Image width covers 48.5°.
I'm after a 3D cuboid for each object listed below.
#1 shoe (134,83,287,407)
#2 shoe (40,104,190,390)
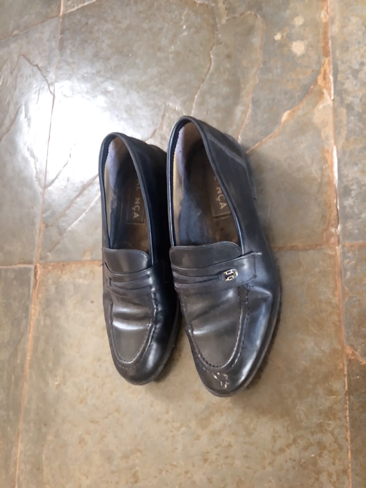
[{"bbox_3d":[0.024,0.004,0.384,0.100,0.100,0.260,-8,75,27],"label":"shoe"},{"bbox_3d":[-0.063,0.006,0.429,0.100,0.100,0.260,-4,77,27],"label":"shoe"}]
